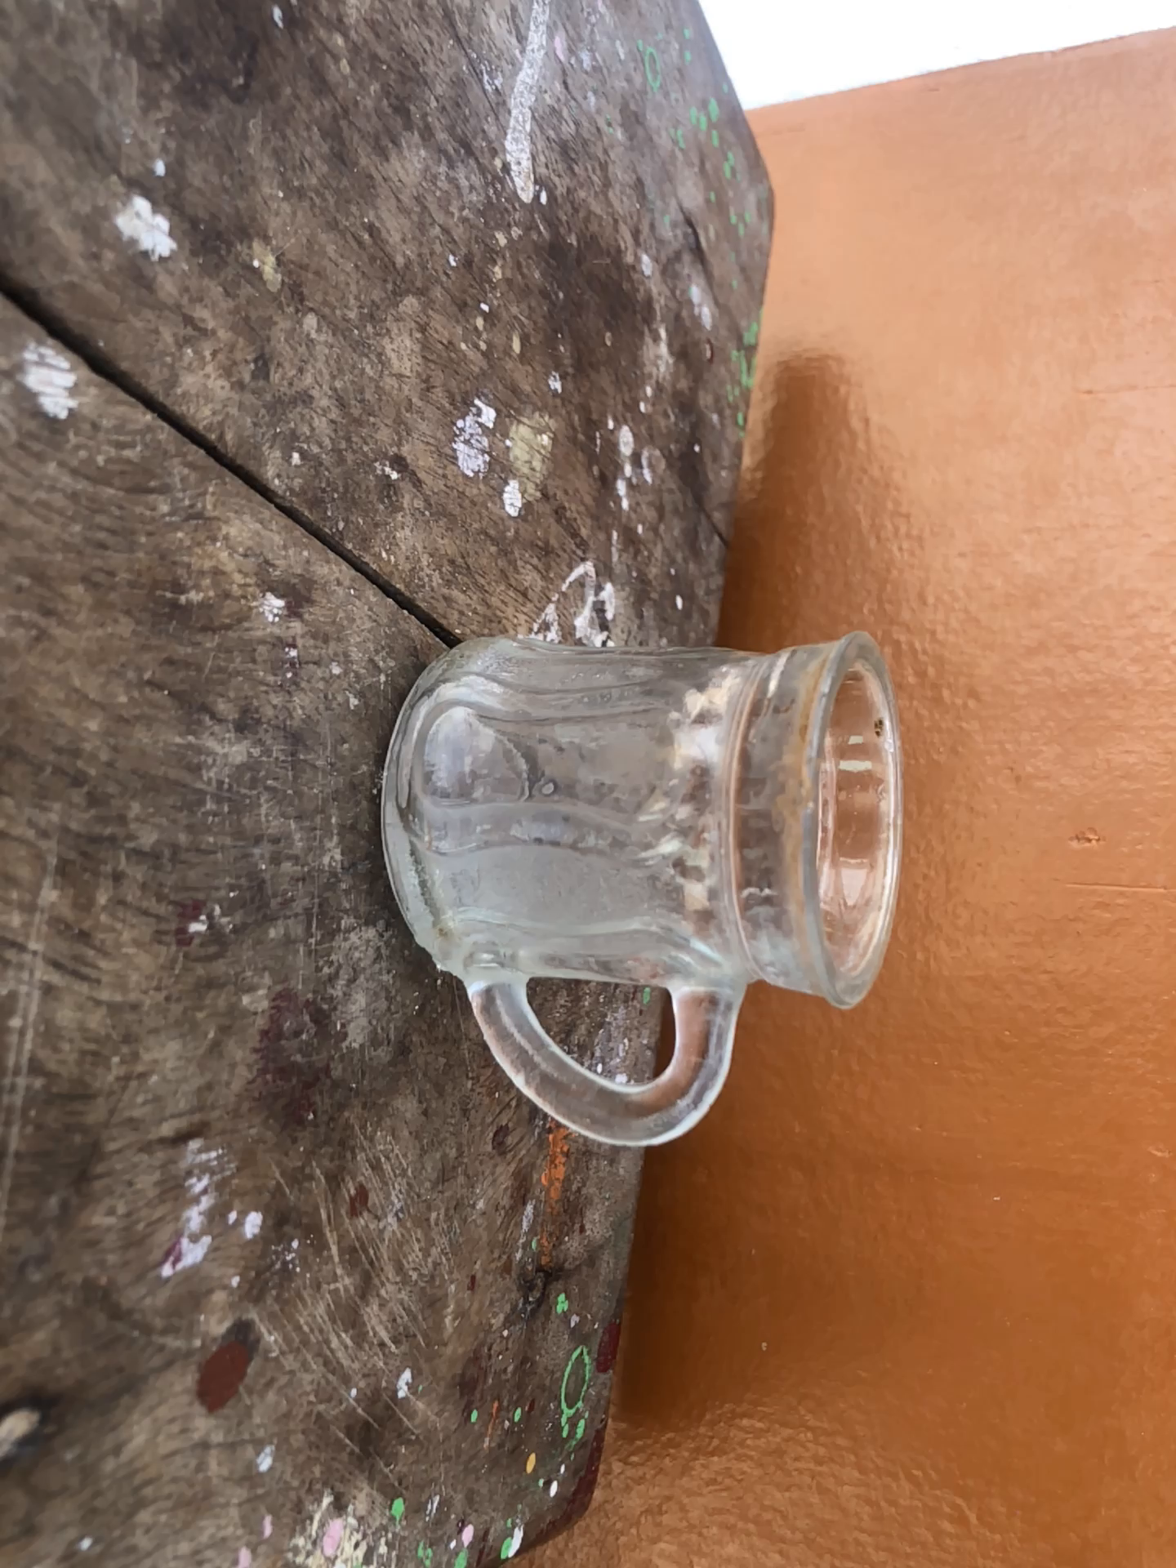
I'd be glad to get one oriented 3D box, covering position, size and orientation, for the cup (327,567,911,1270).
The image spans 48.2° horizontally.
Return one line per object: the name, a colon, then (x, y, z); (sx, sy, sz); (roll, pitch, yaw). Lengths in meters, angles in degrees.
cup: (0.008, 0.018, 0.183); (0.050, 0.060, 0.080); (28, 65, -64)
